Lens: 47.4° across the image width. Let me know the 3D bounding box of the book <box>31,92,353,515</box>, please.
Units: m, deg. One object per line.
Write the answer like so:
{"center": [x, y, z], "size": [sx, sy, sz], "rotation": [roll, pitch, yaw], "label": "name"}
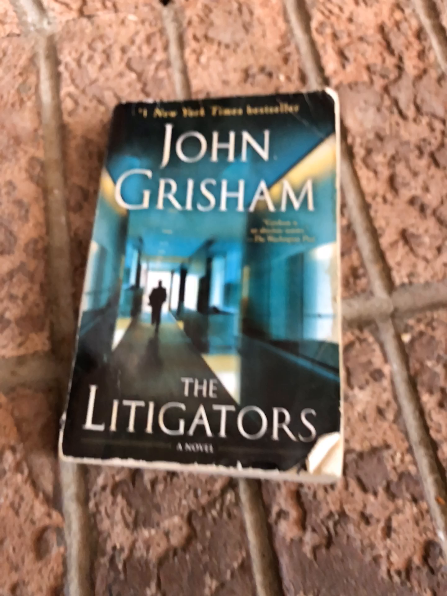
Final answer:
{"center": [-0.007, -0.007, 0.256], "size": [0.135, 0.033, 0.199], "rotation": [2, 73, 9], "label": "book"}
